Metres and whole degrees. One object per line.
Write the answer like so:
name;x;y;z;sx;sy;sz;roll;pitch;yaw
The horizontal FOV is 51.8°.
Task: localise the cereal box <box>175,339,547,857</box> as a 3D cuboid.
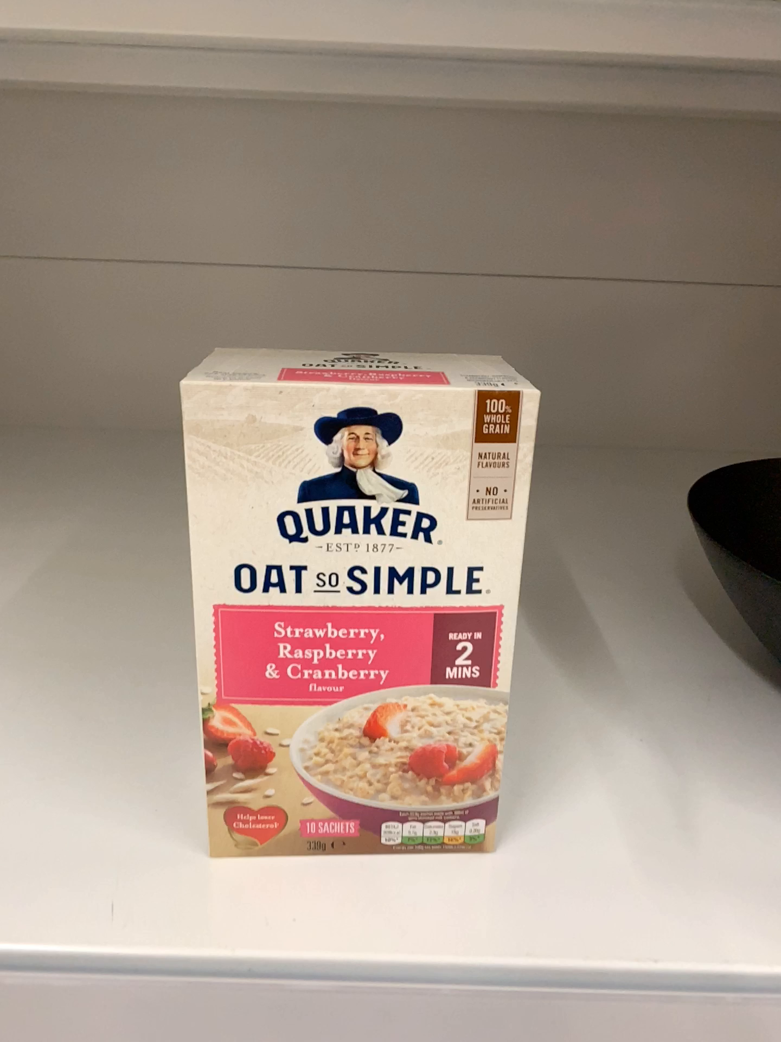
cereal box;-0.016;0.033;0.355;0.130;0.208;0.081;0;20;-5
